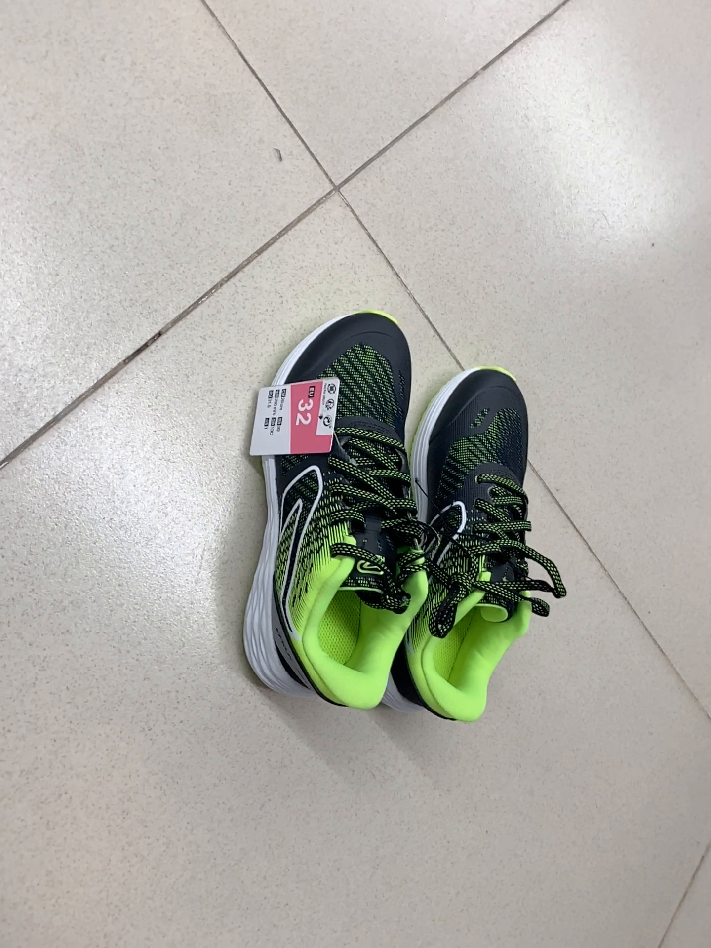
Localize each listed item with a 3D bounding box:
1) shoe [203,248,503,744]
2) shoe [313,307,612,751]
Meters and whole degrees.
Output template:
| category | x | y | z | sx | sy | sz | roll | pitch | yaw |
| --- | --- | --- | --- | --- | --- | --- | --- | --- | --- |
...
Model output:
| category | x | y | z | sx | sy | sz | roll | pitch | yaw |
| --- | --- | --- | --- | --- | --- | --- | --- | --- | --- |
| shoe | -0.003 | 0.015 | 0.420 | 0.090 | 0.110 | 0.240 | 15 | 81 | -29 |
| shoe | 0.068 | 0.033 | 0.469 | 0.090 | 0.110 | 0.240 | 21 | 78 | -28 |
